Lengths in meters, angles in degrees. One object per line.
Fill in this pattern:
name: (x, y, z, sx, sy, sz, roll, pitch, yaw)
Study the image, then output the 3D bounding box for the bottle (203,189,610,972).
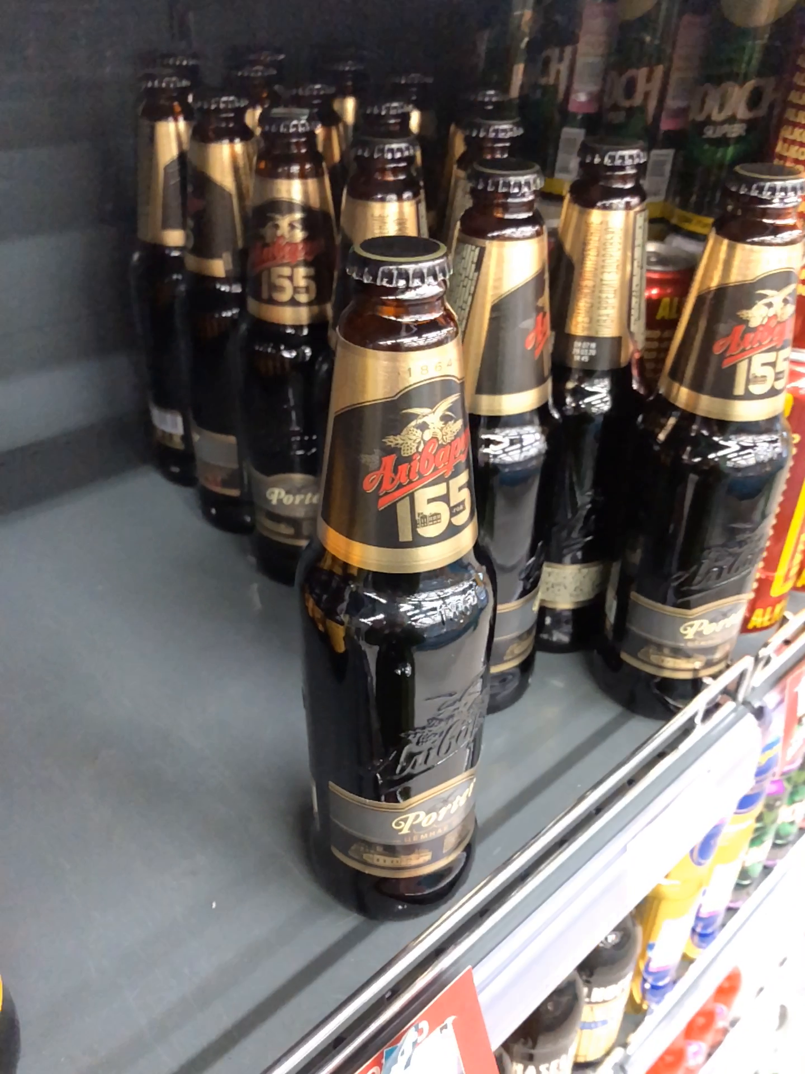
bottle: (-0.005, 0.027, 0.317, 0.080, 0.263, 0.080, 1, 34, -1)
